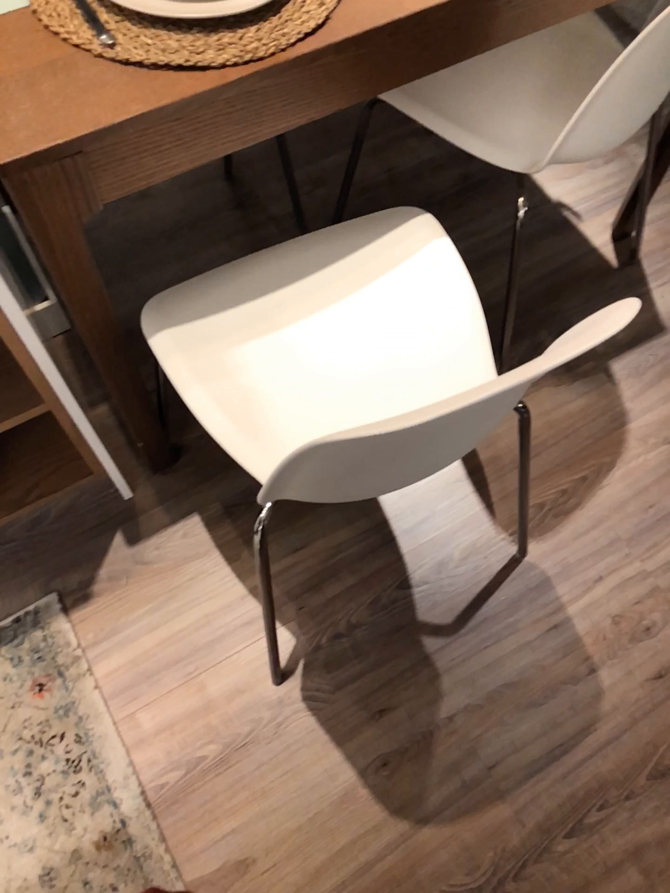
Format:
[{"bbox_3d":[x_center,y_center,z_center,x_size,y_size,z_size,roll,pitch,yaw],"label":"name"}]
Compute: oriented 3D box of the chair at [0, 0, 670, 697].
[{"bbox_3d":[0.027,-0.092,0.965,0.540,0.707,0.532,-24,67,-13],"label":"chair"}]
